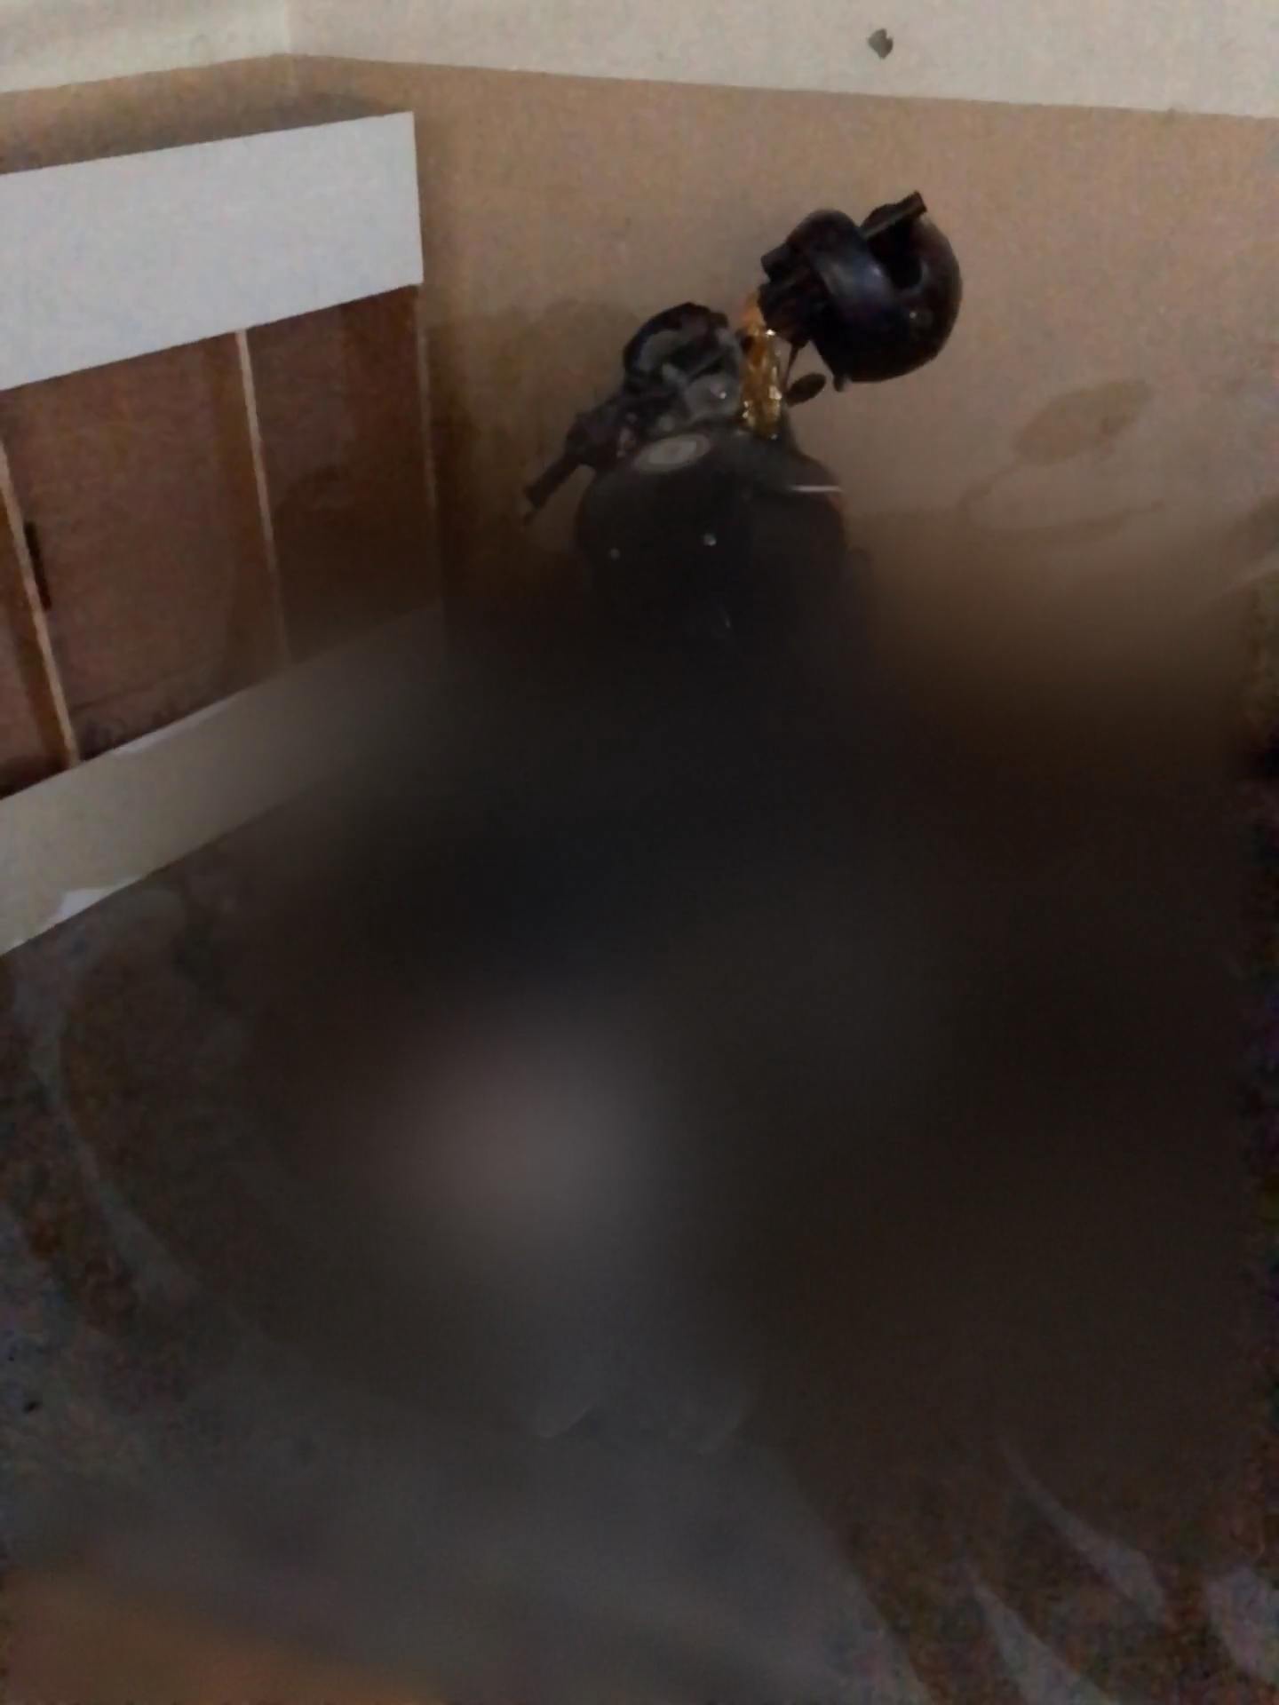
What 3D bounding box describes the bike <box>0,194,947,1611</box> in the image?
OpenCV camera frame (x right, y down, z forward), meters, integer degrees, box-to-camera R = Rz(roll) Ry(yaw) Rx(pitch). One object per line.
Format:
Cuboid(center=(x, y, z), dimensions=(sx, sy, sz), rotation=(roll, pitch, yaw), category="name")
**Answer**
Cuboid(center=(-0.021, -0.142, 1.993), dimensions=(0.717, 1.179, 1.711), rotation=(7, 34, 9), category="bike")
